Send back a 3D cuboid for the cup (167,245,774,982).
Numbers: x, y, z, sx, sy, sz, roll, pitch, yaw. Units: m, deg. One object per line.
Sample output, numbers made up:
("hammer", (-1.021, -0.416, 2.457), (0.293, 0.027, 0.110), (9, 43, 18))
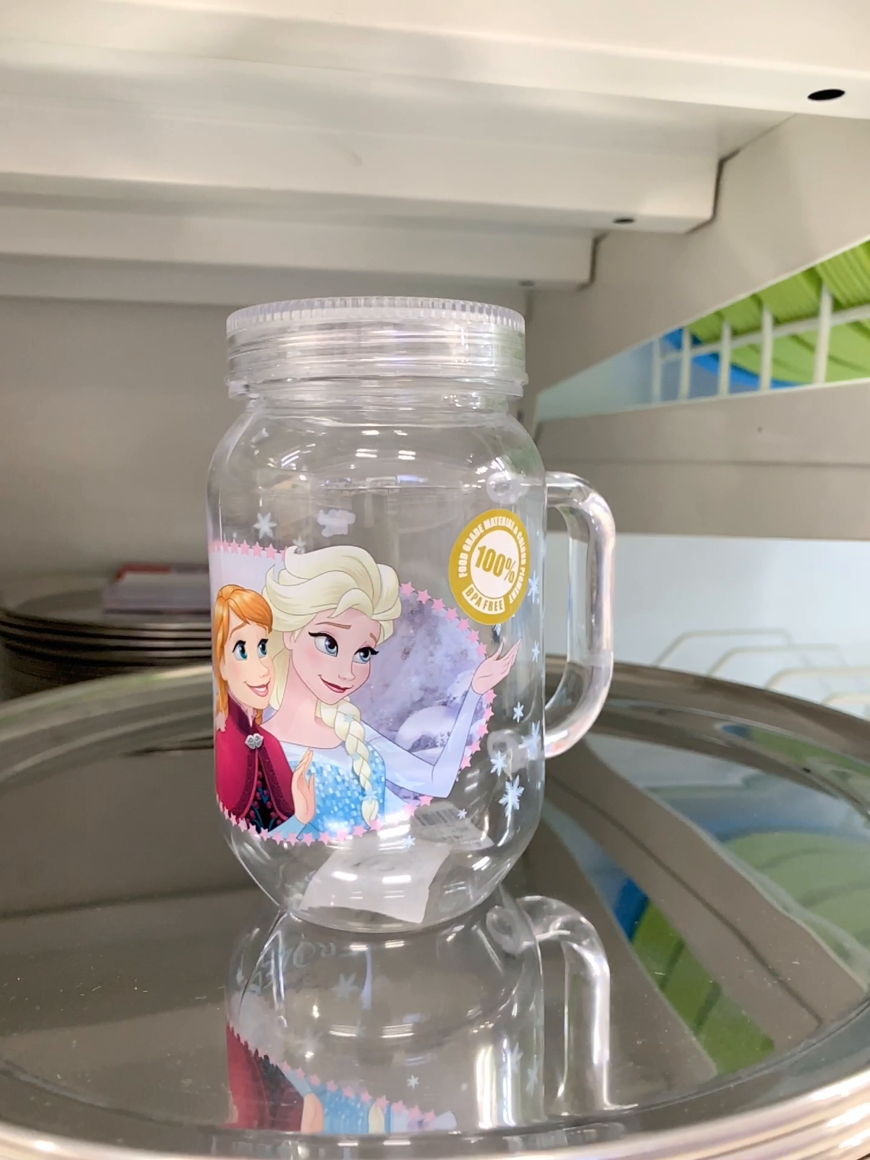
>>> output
("cup", (0.005, 0.002, 0.216), (0.120, 0.130, 0.070), (-3, 7, -24))
